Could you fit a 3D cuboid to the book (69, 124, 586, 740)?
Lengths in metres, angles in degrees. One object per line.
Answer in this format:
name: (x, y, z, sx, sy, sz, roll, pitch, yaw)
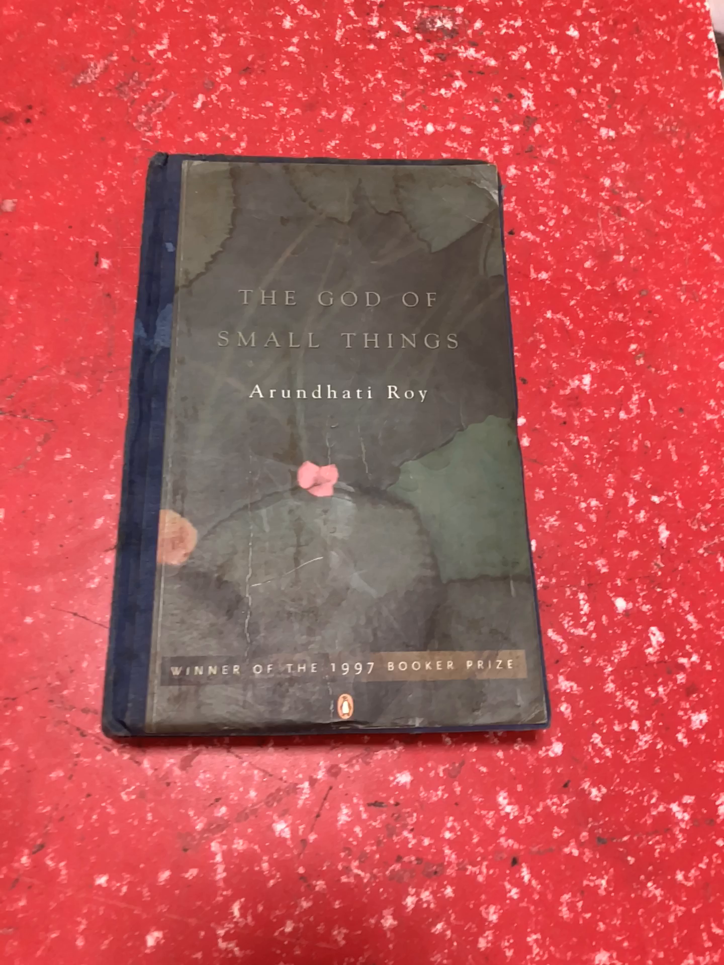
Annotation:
book: (-0.010, -0.024, 0.290, 0.150, 0.040, 0.220, 0, 71, -2)
